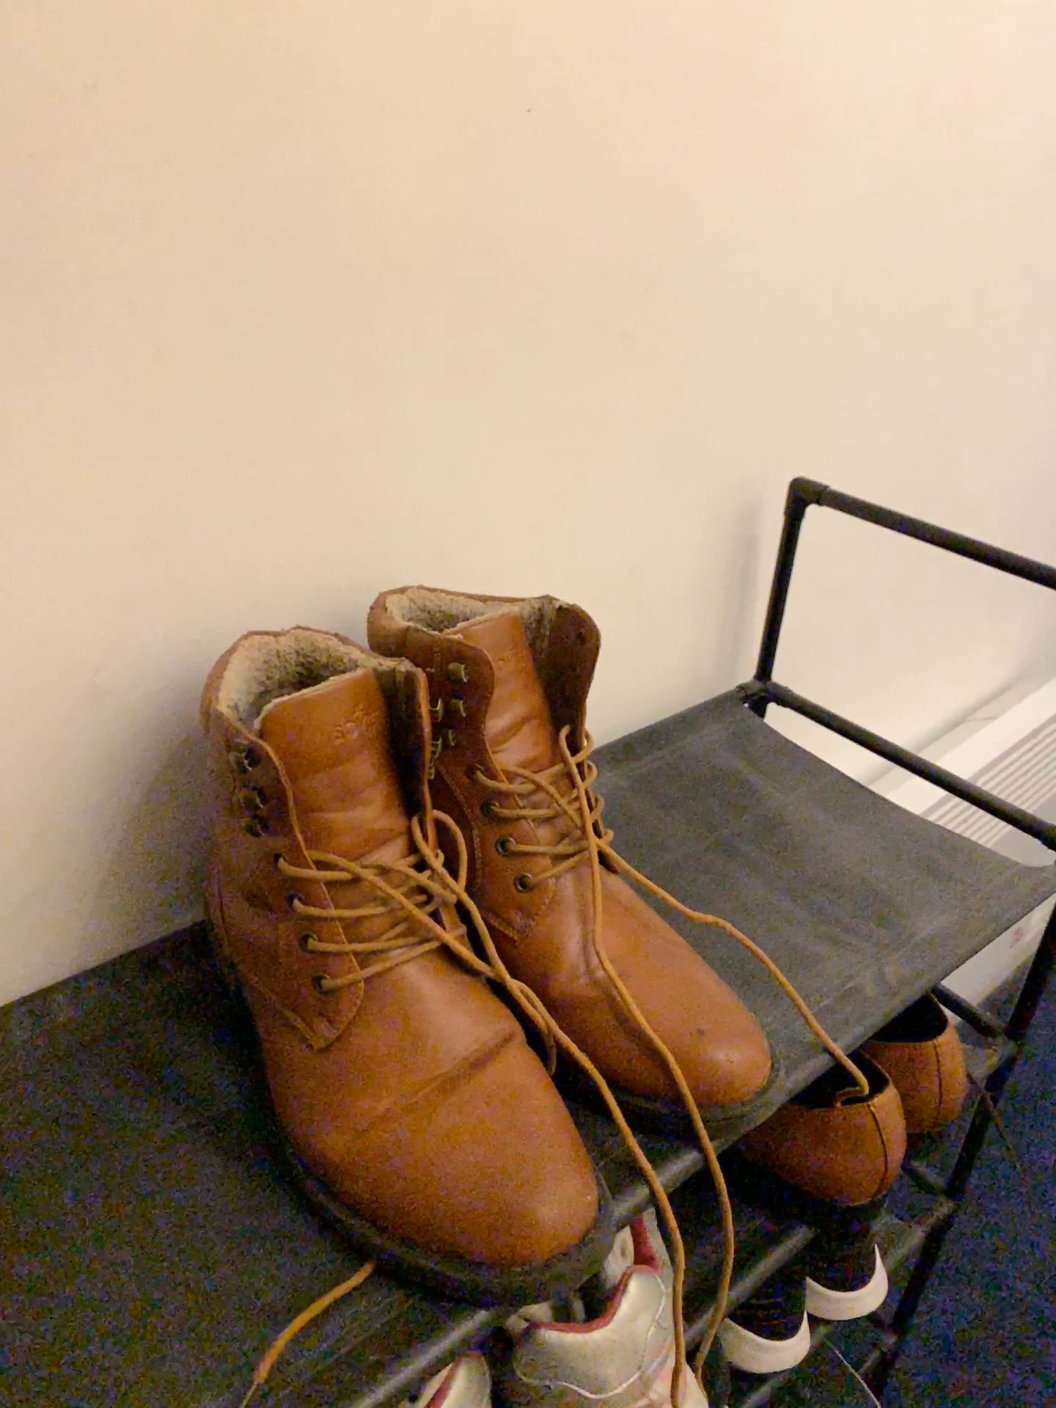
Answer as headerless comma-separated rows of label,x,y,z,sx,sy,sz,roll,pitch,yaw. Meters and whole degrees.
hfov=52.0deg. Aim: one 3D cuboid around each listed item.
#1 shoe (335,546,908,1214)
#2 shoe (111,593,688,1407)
shoe,0.026,0.065,0.519,0.111,0.198,0.241,-22,37,-37
shoe,-0.073,0.101,0.475,0.110,0.198,0.272,-17,34,-31
